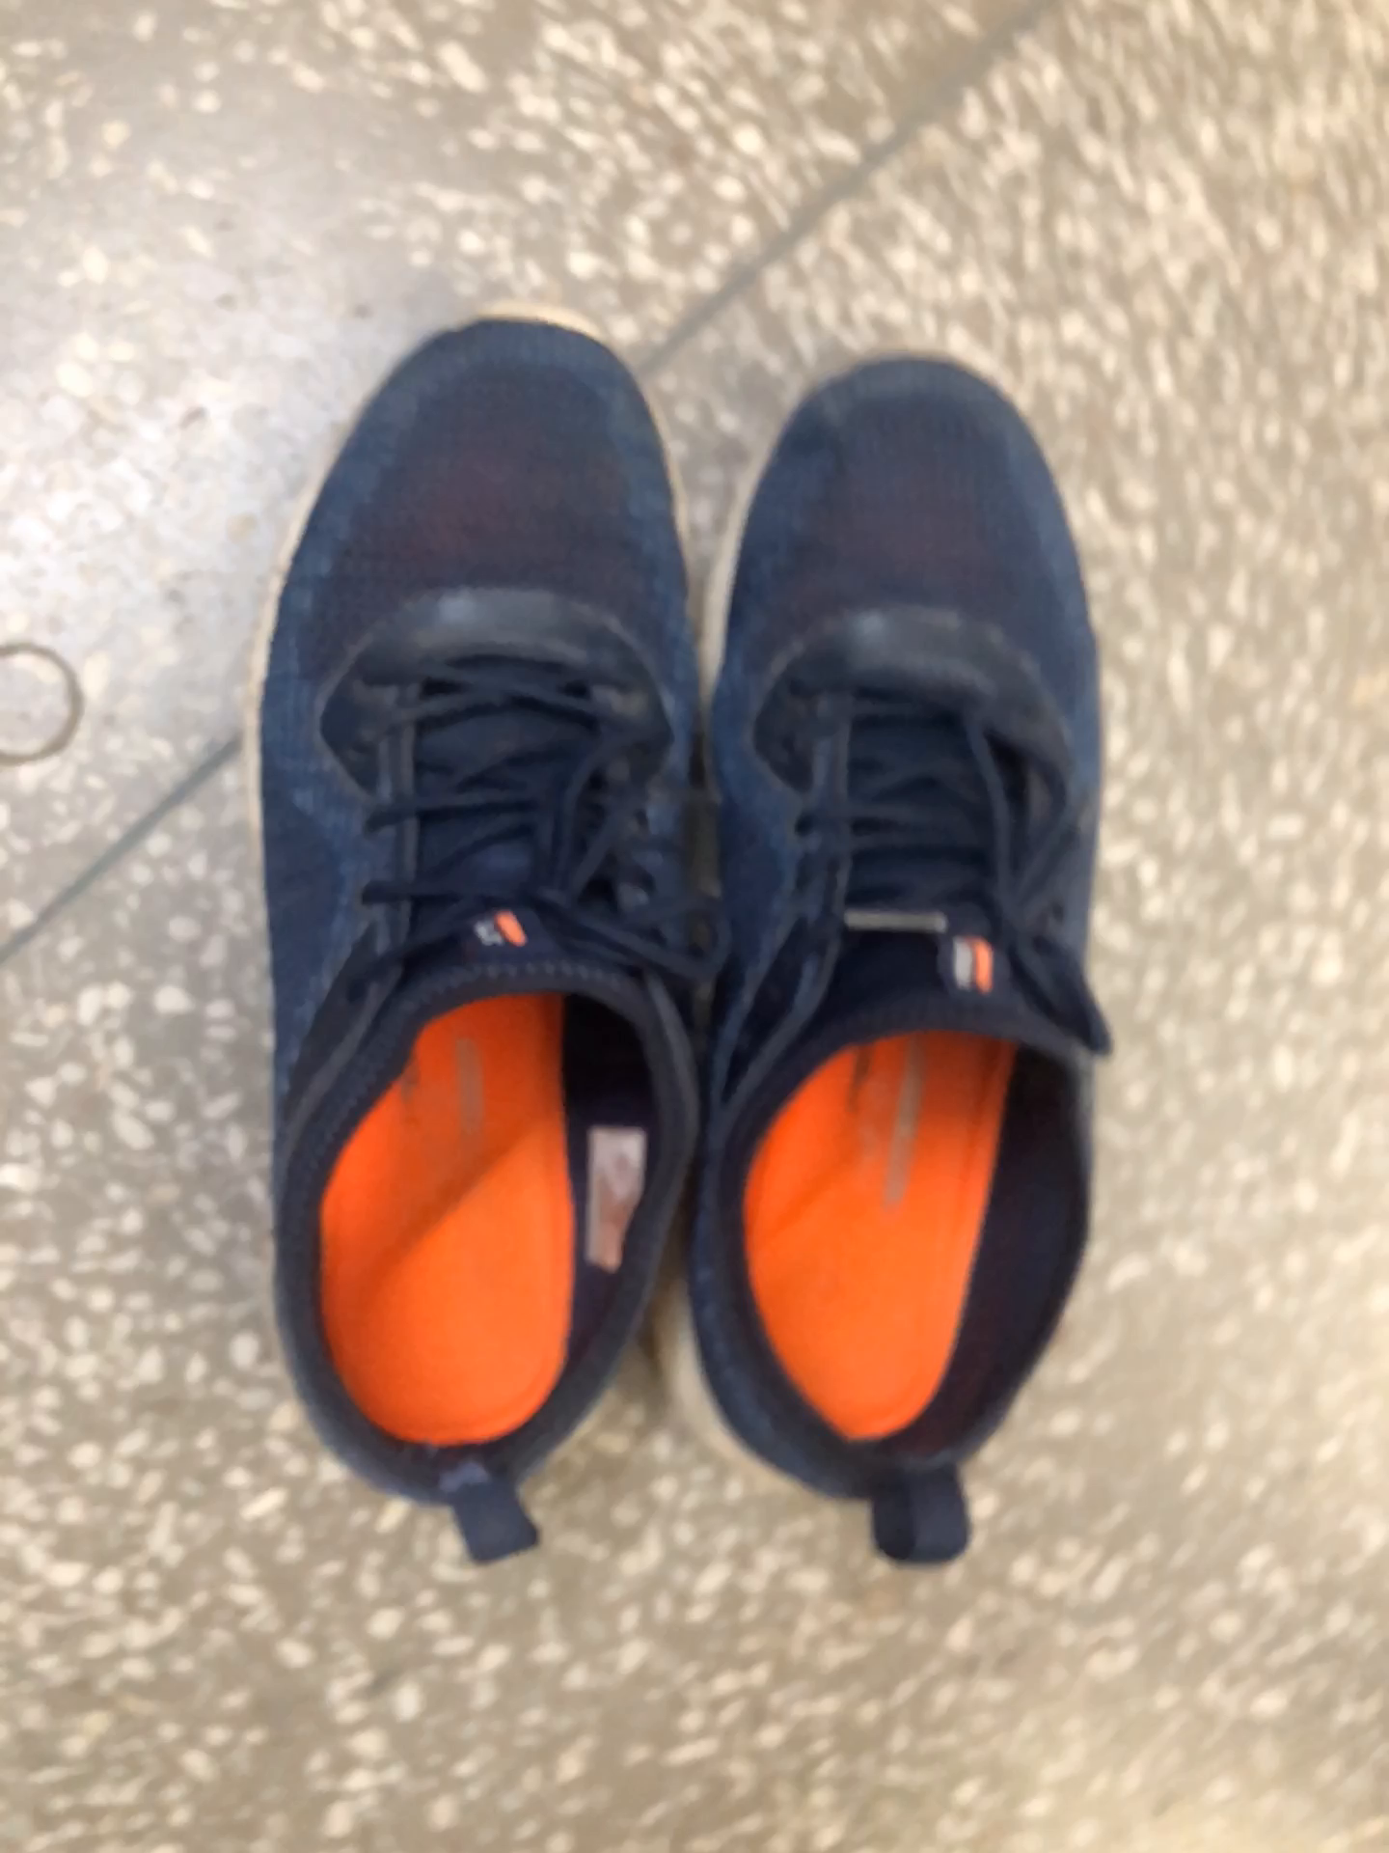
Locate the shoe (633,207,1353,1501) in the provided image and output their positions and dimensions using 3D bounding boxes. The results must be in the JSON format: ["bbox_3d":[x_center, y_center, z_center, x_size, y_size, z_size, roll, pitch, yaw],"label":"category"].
[{"bbox_3d":[0.060,-0.011,0.361,0.123,0.100,0.249,3,89,-8],"label":"shoe"}]

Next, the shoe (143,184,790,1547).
[{"bbox_3d":[-0.048,-0.009,0.345,0.113,0.100,0.249,2,90,-8],"label":"shoe"}]
